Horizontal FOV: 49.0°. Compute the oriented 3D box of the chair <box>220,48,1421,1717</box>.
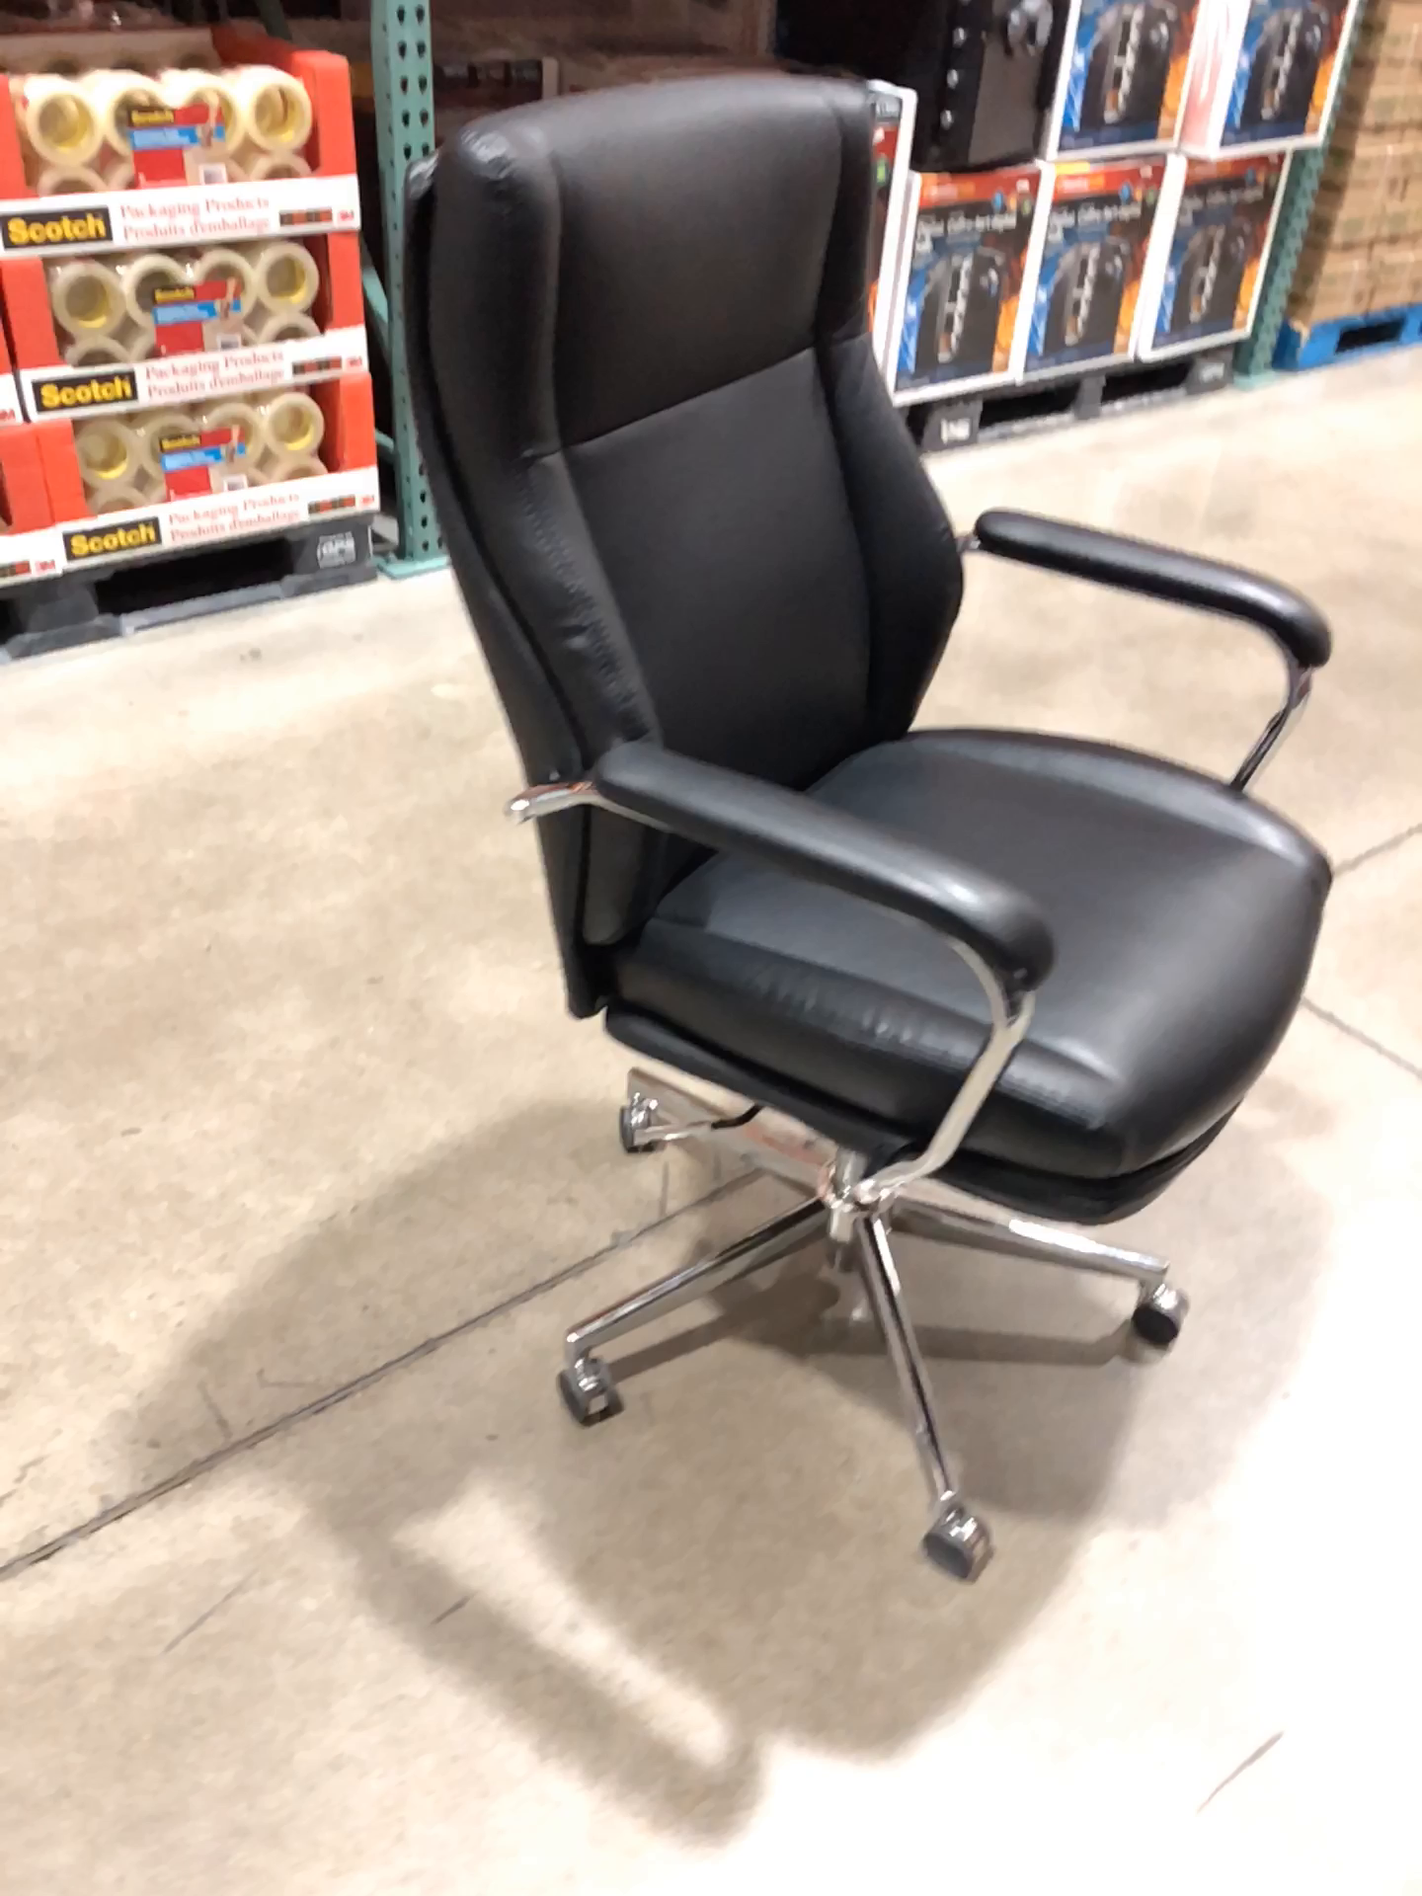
[{"bbox_3d":[0.159,-0.108,1.335,0.701,1.045,0.712,26,41,27],"label":"chair"}]
